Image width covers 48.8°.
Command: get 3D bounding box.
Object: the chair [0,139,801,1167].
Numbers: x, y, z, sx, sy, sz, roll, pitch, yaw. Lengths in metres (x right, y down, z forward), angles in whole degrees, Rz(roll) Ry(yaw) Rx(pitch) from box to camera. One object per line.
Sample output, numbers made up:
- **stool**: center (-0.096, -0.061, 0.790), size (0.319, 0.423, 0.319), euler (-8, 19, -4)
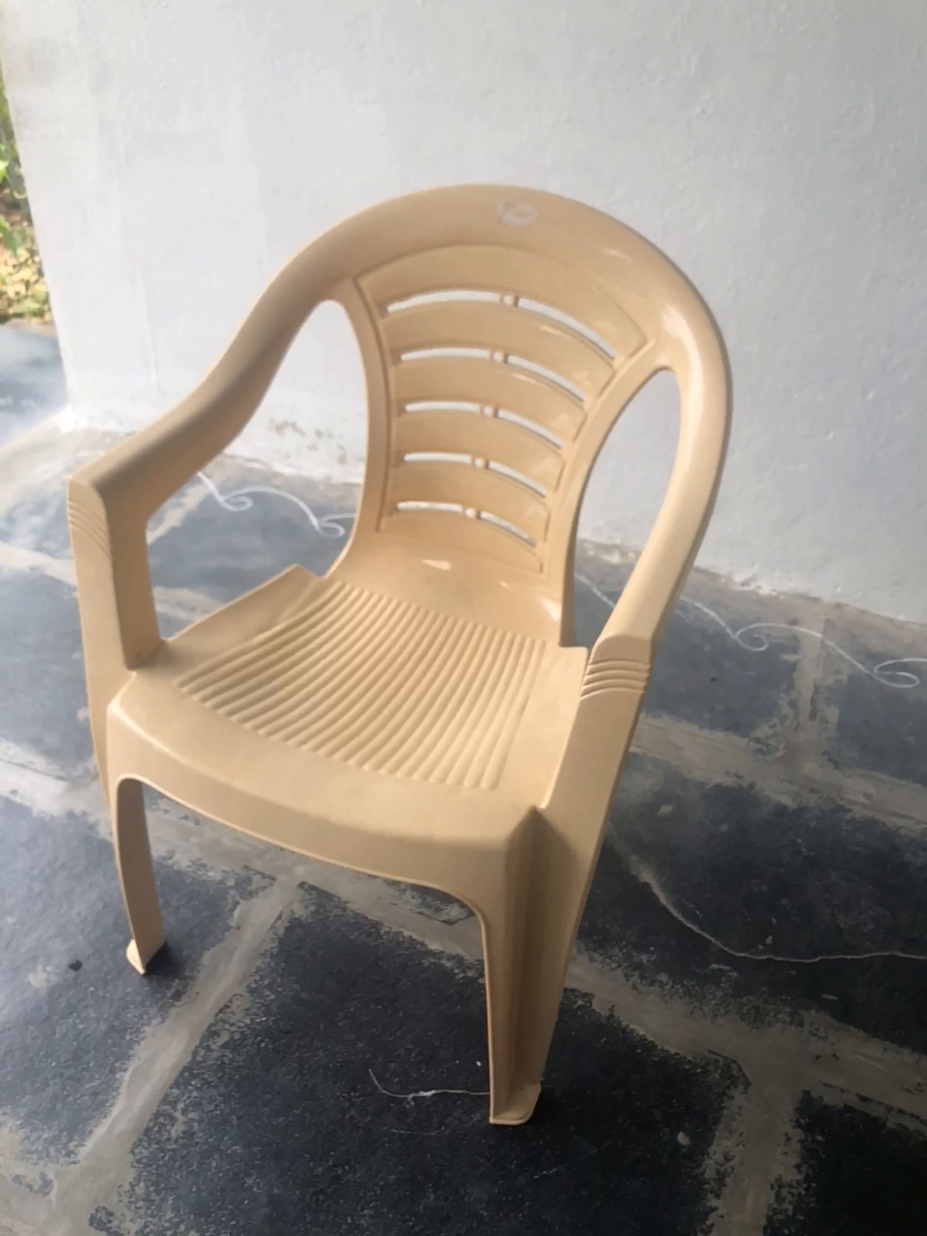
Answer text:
- **chair**: center (-0.062, -0.008, 1.092), size (0.620, 0.736, 0.654), euler (13, 38, 12)
